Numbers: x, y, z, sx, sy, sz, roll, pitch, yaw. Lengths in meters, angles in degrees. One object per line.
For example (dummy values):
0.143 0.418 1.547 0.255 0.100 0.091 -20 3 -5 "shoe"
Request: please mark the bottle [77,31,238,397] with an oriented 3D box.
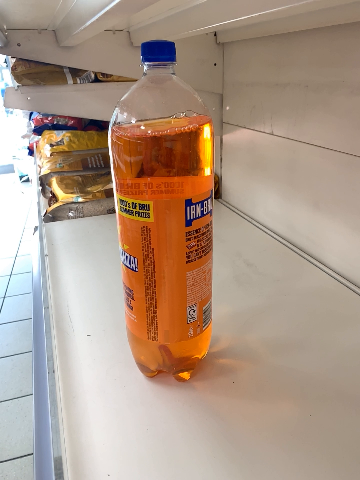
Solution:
-0.013 -0.014 0.369 0.110 0.327 0.111 -2 24 1 "bottle"
